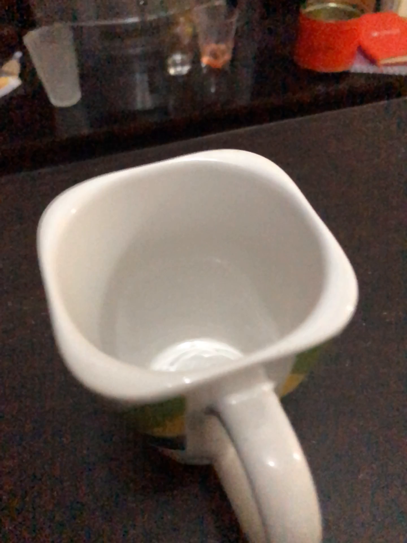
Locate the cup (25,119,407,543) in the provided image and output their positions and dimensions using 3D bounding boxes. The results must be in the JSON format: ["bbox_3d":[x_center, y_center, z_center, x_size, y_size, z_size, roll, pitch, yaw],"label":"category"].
[{"bbox_3d":[0.007,0.029,0.143,0.080,0.090,0.110,-18,53,-13],"label":"cup"}]
